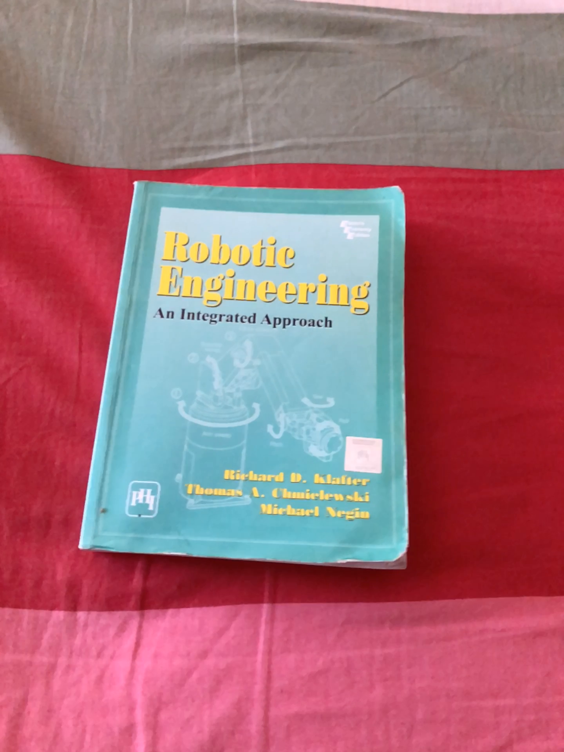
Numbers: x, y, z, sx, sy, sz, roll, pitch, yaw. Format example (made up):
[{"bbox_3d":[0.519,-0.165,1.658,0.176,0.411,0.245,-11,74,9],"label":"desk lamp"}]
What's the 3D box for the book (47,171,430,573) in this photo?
[{"bbox_3d":[-0.015,-0.007,0.336,0.171,0.043,0.205,3,70,0],"label":"book"}]
